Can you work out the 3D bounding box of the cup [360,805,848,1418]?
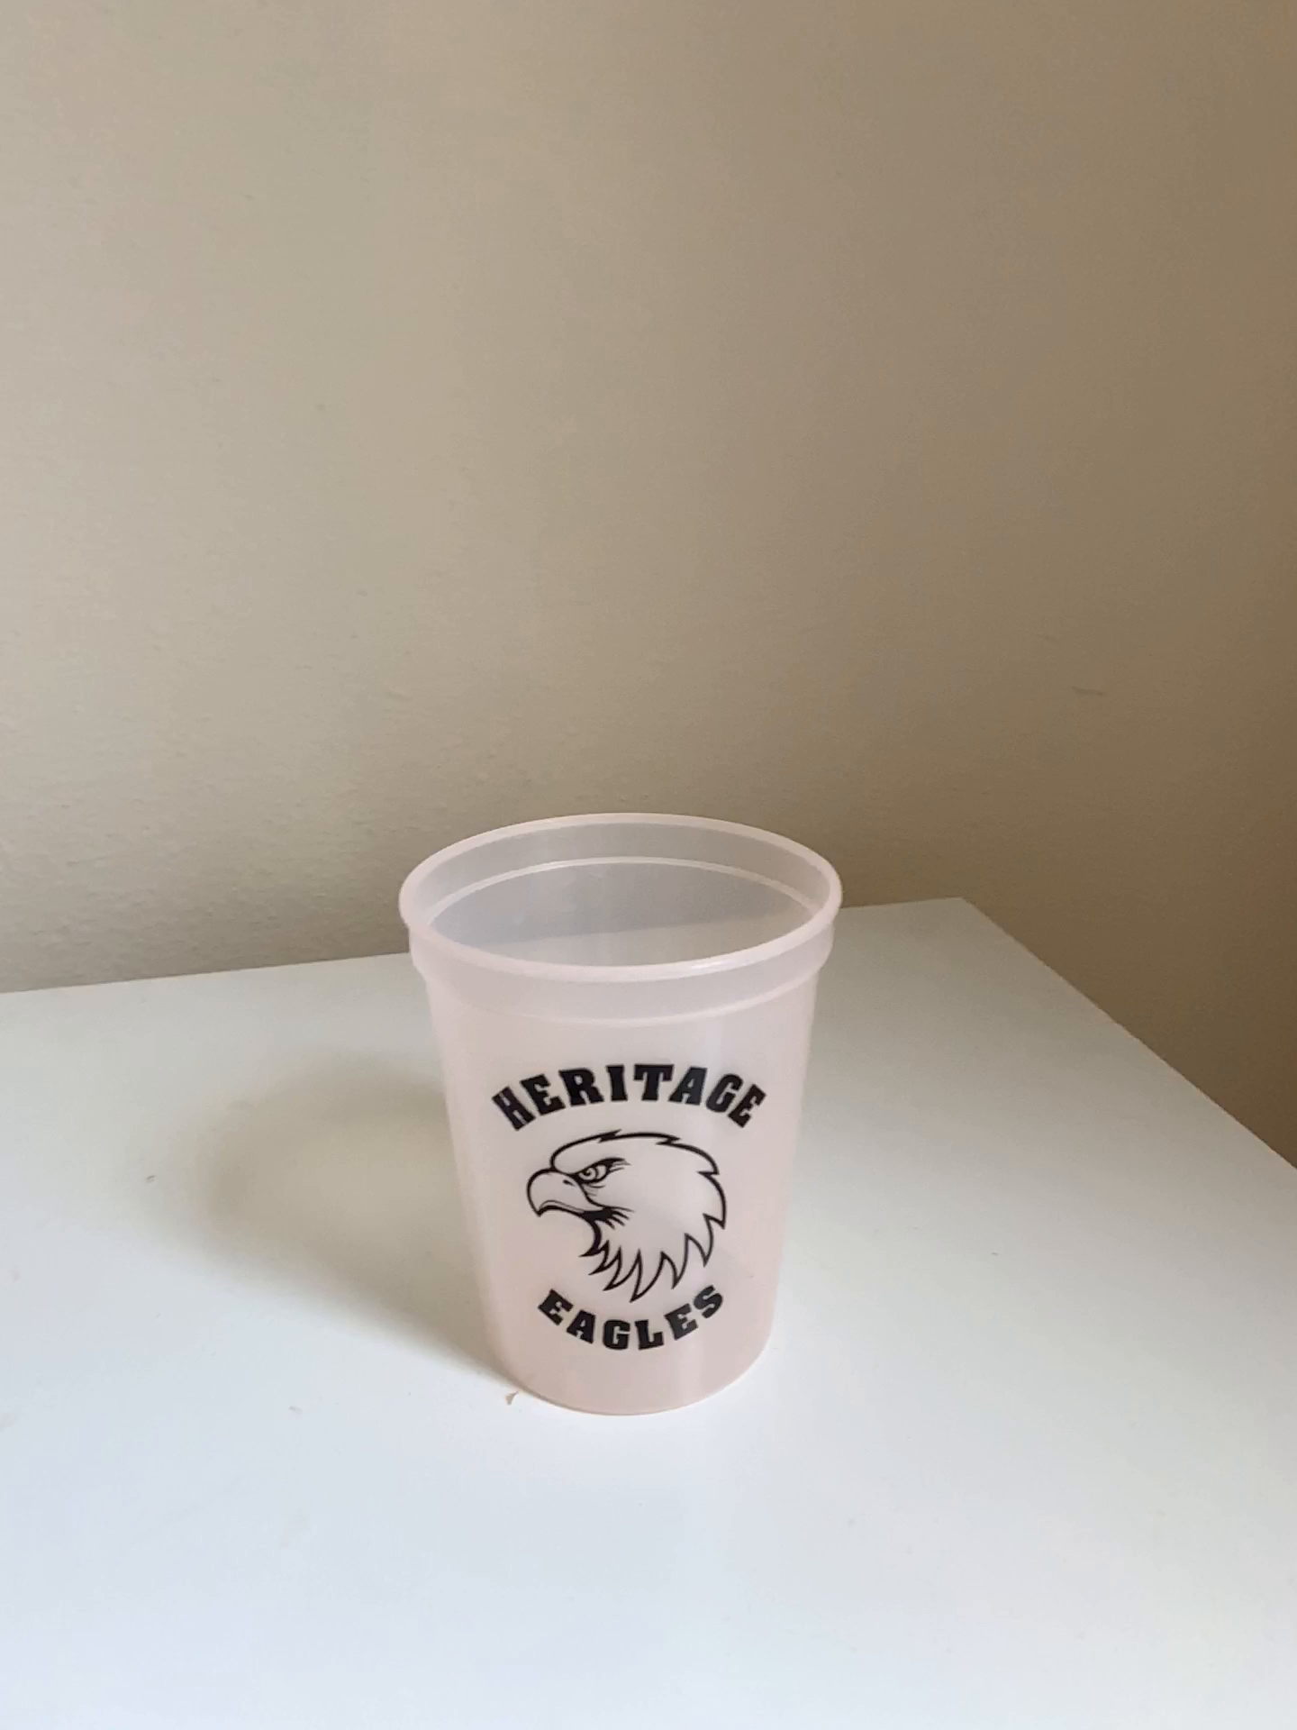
[{"bbox_3d":[-0.008,0.052,0.302,0.090,0.110,0.080,-1,20,0],"label":"cup"}]
